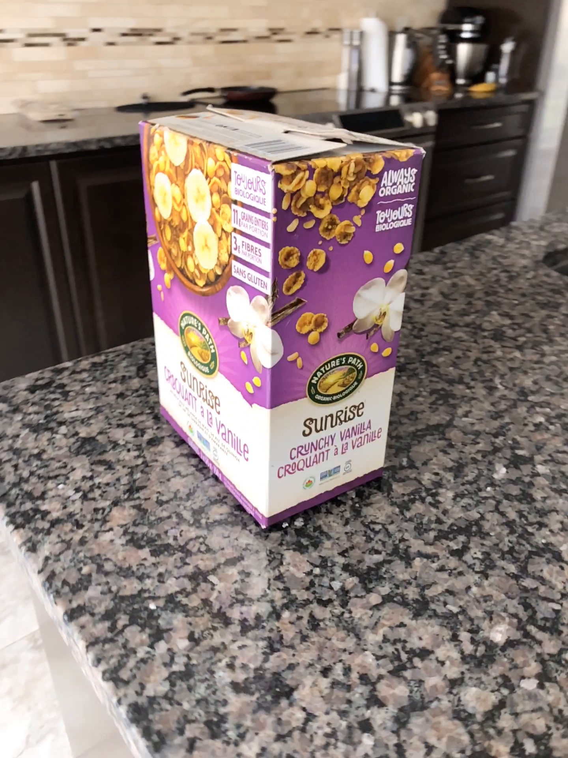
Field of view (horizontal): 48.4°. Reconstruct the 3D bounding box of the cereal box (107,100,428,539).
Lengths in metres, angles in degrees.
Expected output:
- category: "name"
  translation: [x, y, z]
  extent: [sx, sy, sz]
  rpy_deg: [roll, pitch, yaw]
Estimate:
- category: "cereal box"
  translation: [-0.020, -0.053, 0.428]
  extent: [0.110, 0.229, 0.181]
  rpy_deg: [-17, 34, -29]
